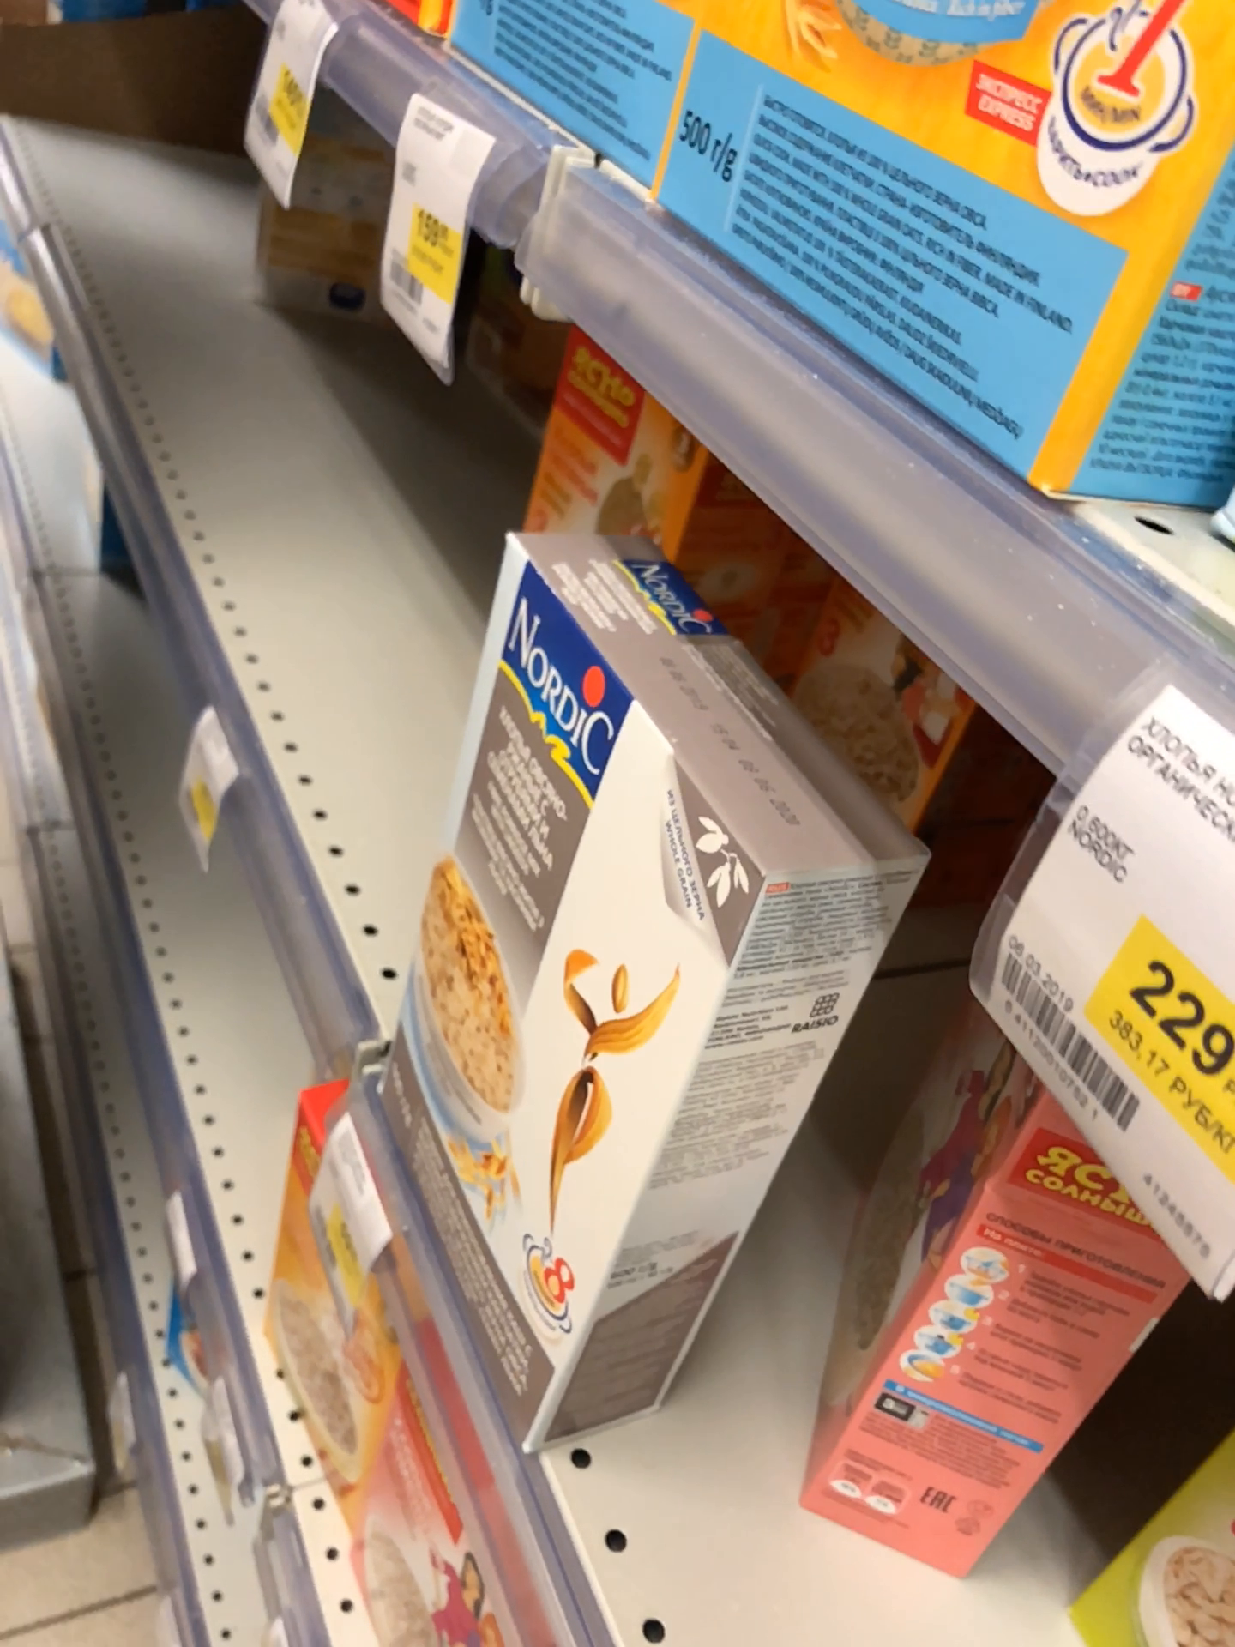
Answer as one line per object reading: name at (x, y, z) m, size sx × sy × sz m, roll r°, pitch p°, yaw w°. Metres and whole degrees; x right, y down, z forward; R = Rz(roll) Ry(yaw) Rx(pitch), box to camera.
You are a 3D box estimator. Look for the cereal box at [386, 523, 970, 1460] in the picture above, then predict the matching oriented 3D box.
cereal box at (-0.004, 0.051, 0.396) m, size 0.050 × 0.229 × 0.141 m, roll -5°, pitch 41°, yaw -29°
